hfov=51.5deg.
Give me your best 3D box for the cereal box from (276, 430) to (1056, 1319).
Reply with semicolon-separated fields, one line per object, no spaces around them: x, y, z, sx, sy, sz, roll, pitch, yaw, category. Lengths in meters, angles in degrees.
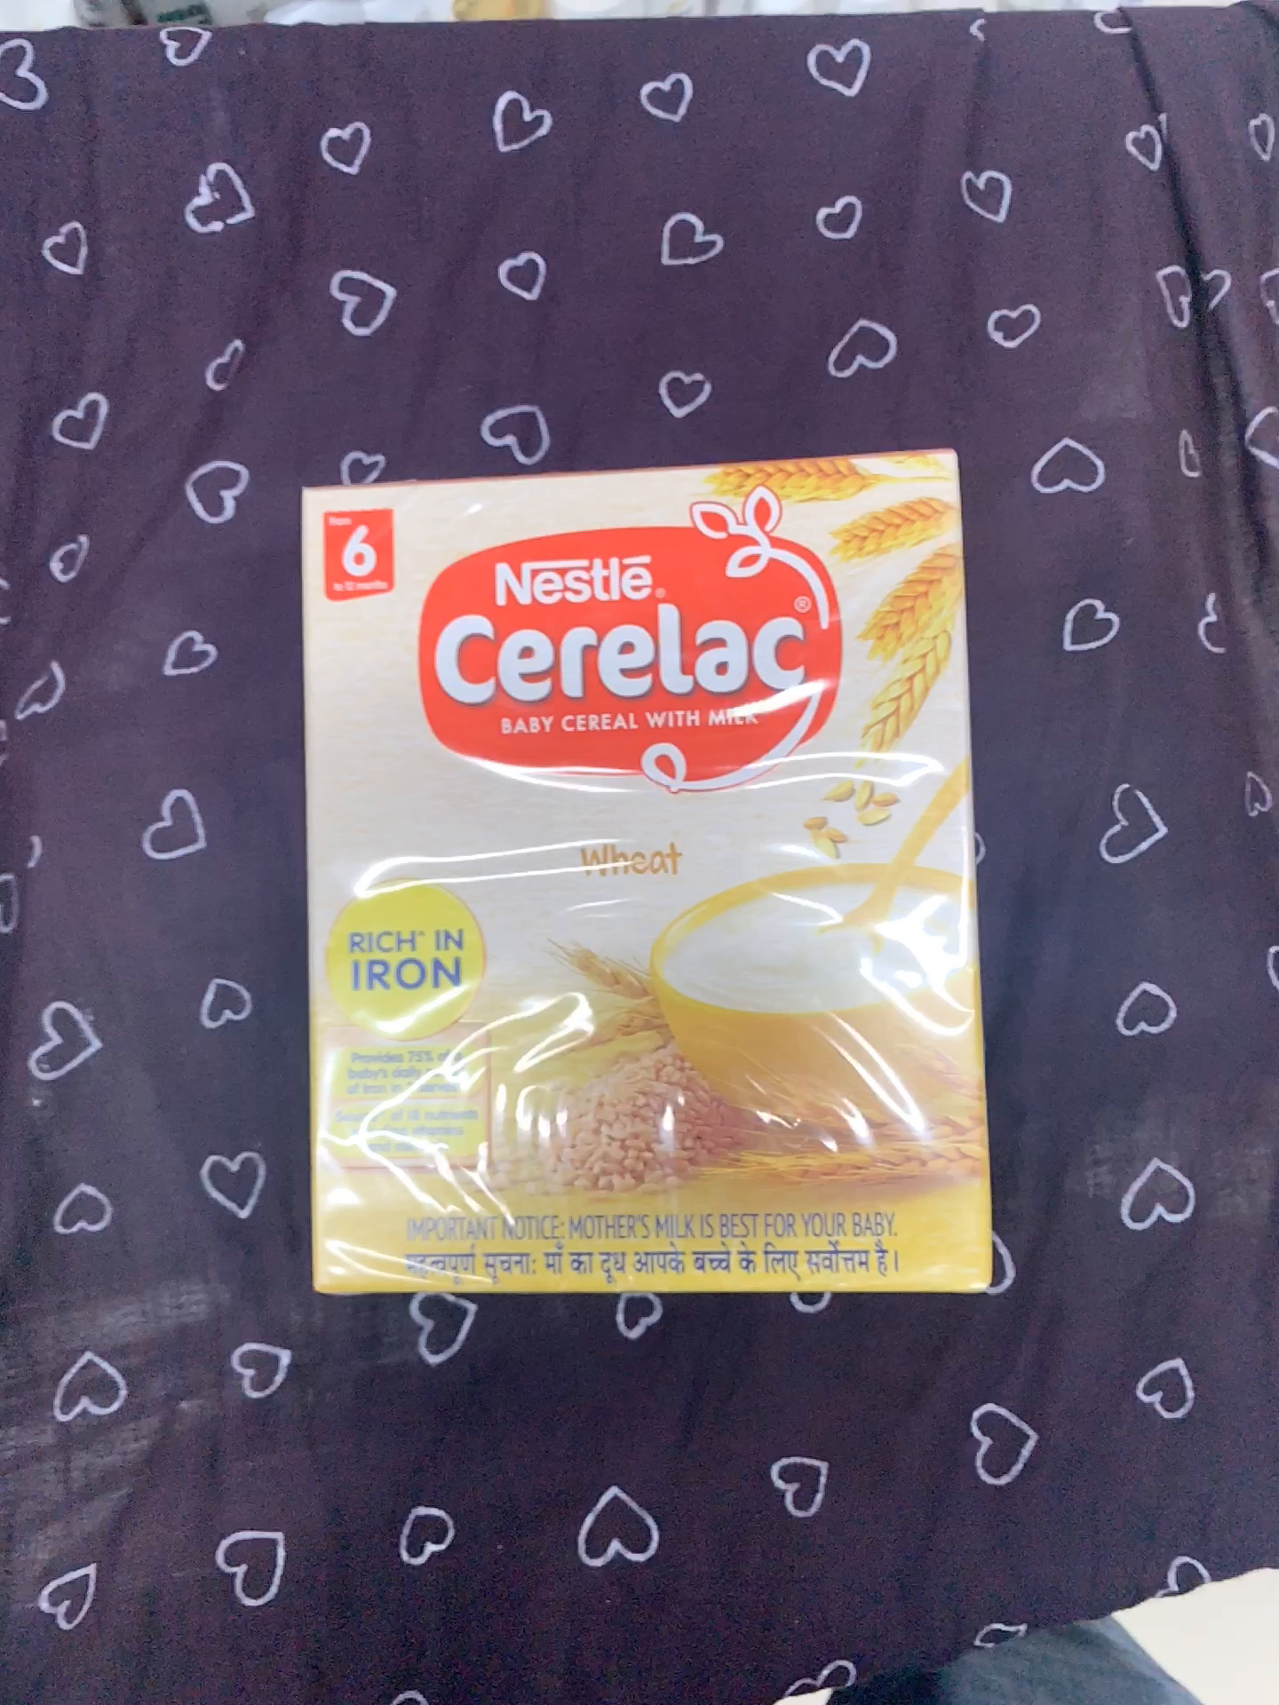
0.004;0.006;0.265;0.140;0.040;0.160;-2;88;6;cereal box
